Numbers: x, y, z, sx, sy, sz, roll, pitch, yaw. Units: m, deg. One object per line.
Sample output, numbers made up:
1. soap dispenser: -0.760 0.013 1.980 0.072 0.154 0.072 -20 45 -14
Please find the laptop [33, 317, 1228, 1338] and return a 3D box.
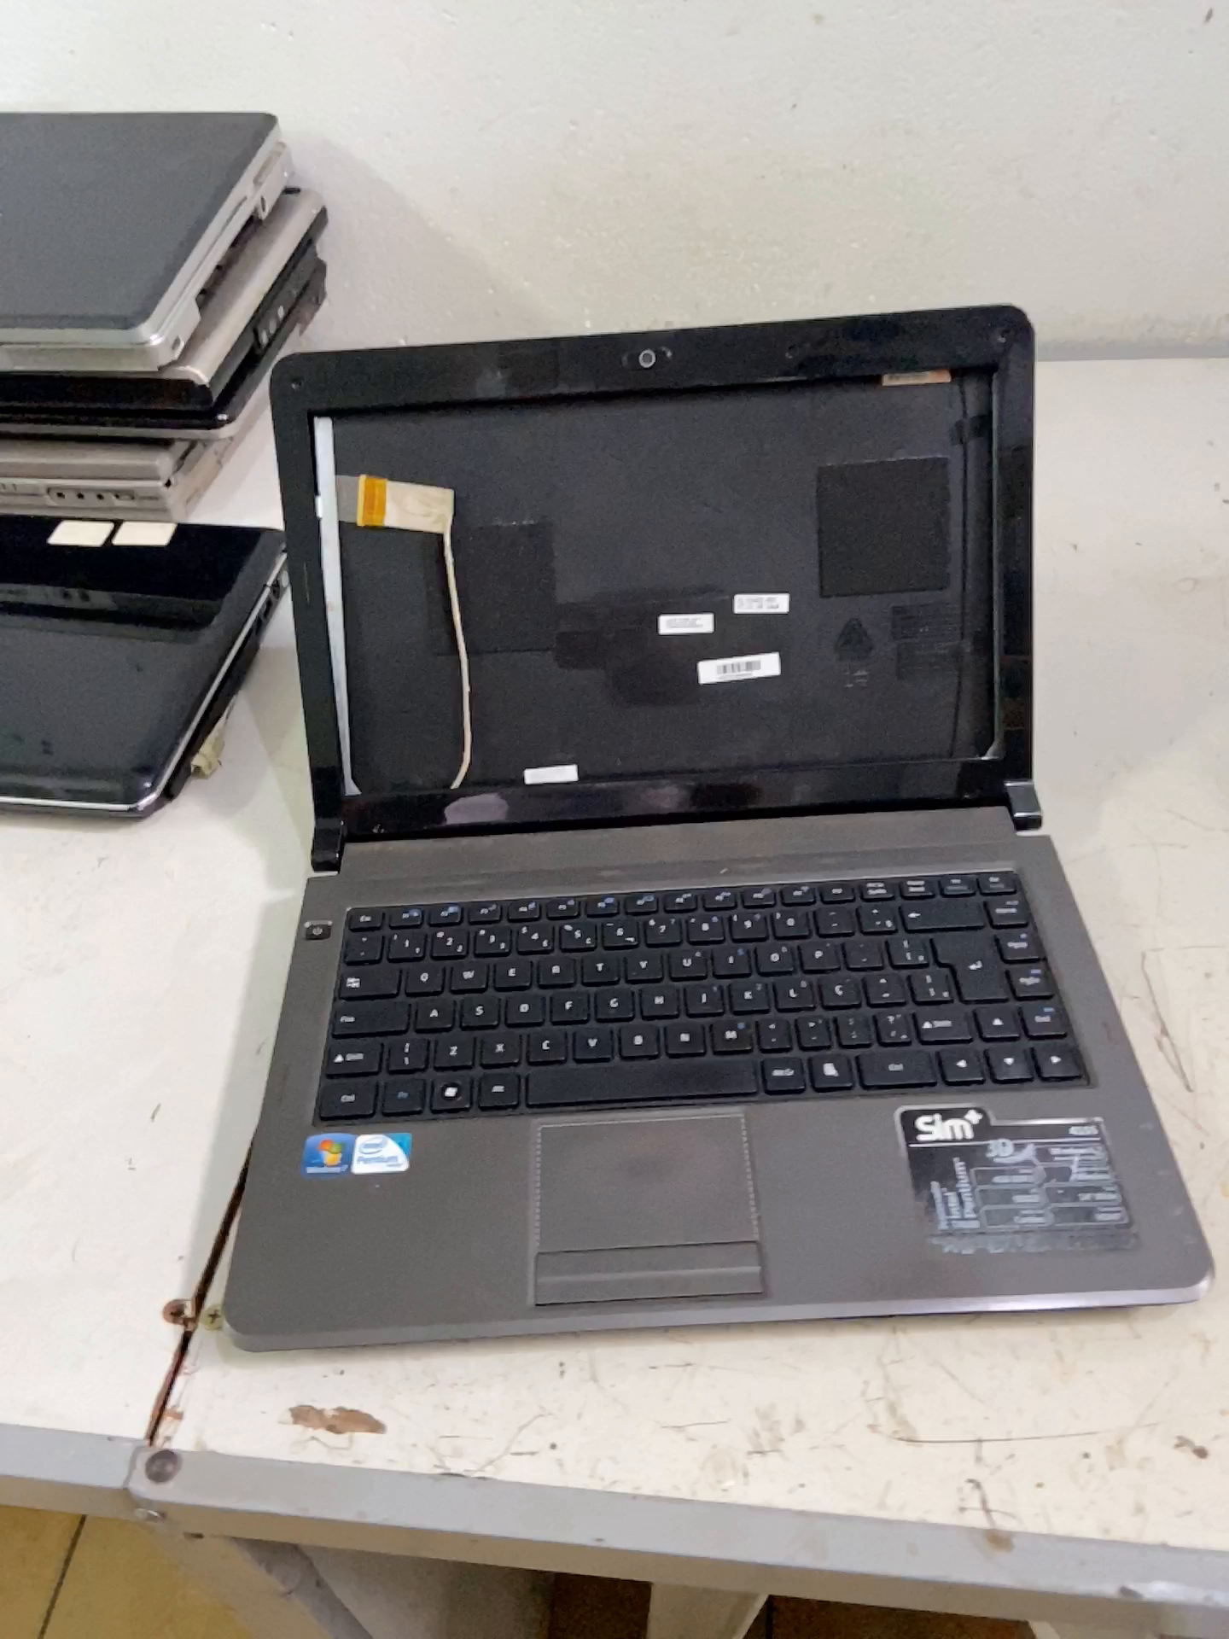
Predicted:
1. laptop: 0.027 -0.023 0.501 0.342 0.174 0.367 -3 45 1
